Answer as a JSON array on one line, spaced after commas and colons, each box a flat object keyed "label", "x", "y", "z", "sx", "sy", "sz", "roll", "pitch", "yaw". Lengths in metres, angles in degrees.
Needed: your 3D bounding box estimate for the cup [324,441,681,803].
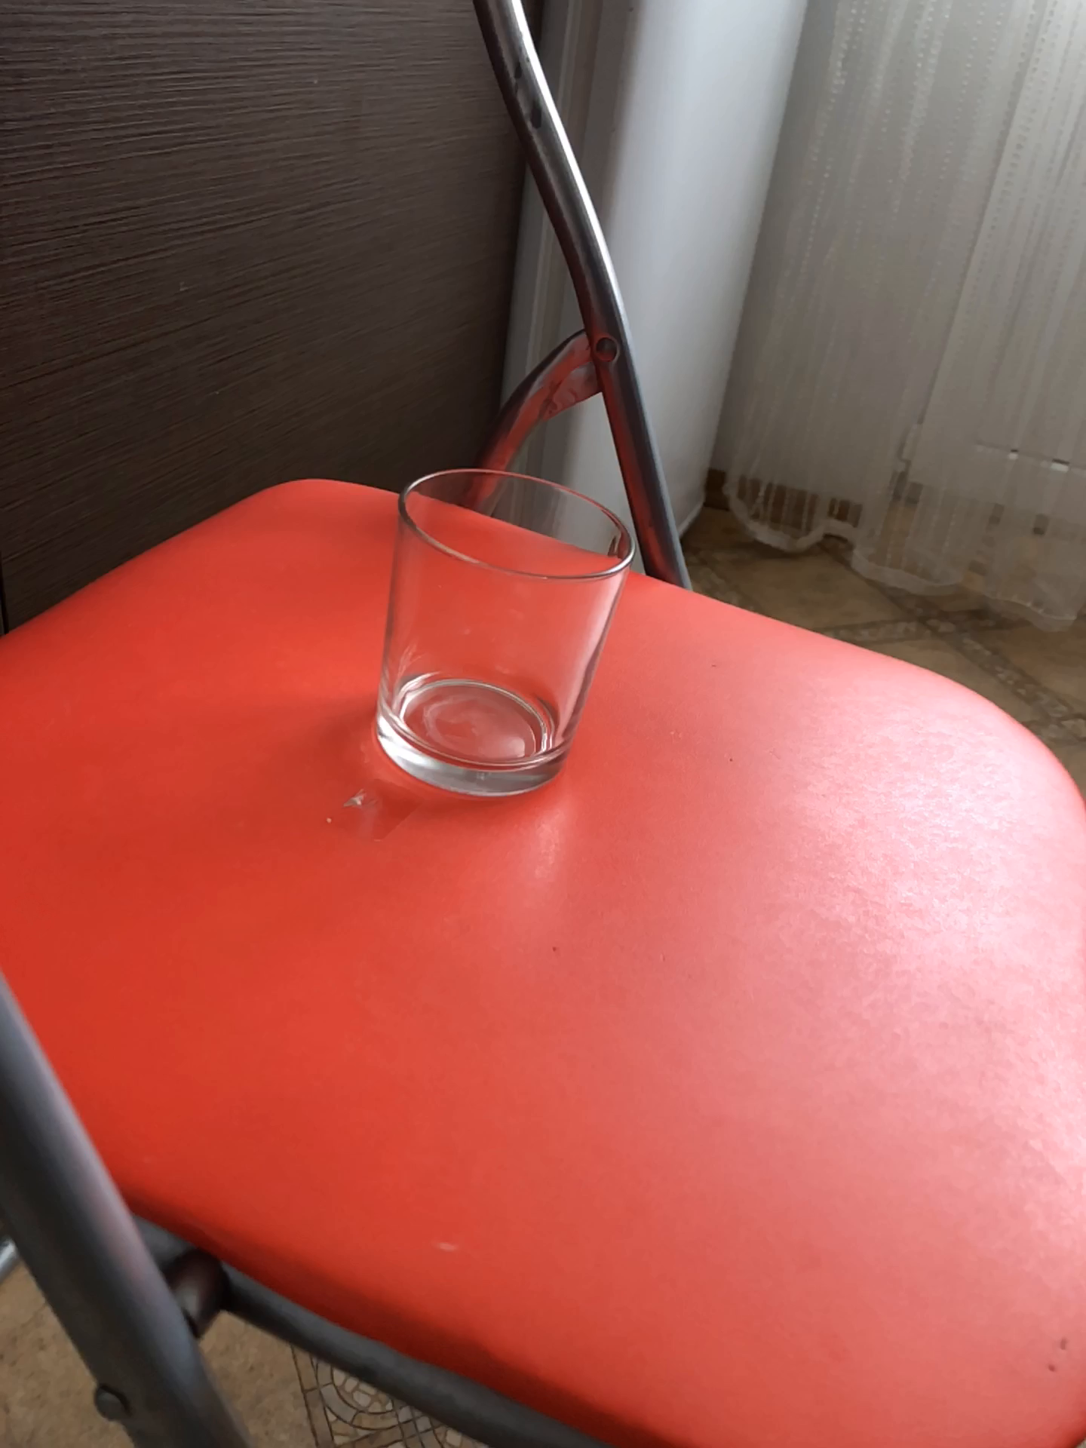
[{"label": "cup", "x": -0.018, "y": -0.034, "z": 0.379, "sx": 0.080, "sy": 0.082, "sz": 0.078, "roll": 9, "pitch": 32, "yaw": -6}]
